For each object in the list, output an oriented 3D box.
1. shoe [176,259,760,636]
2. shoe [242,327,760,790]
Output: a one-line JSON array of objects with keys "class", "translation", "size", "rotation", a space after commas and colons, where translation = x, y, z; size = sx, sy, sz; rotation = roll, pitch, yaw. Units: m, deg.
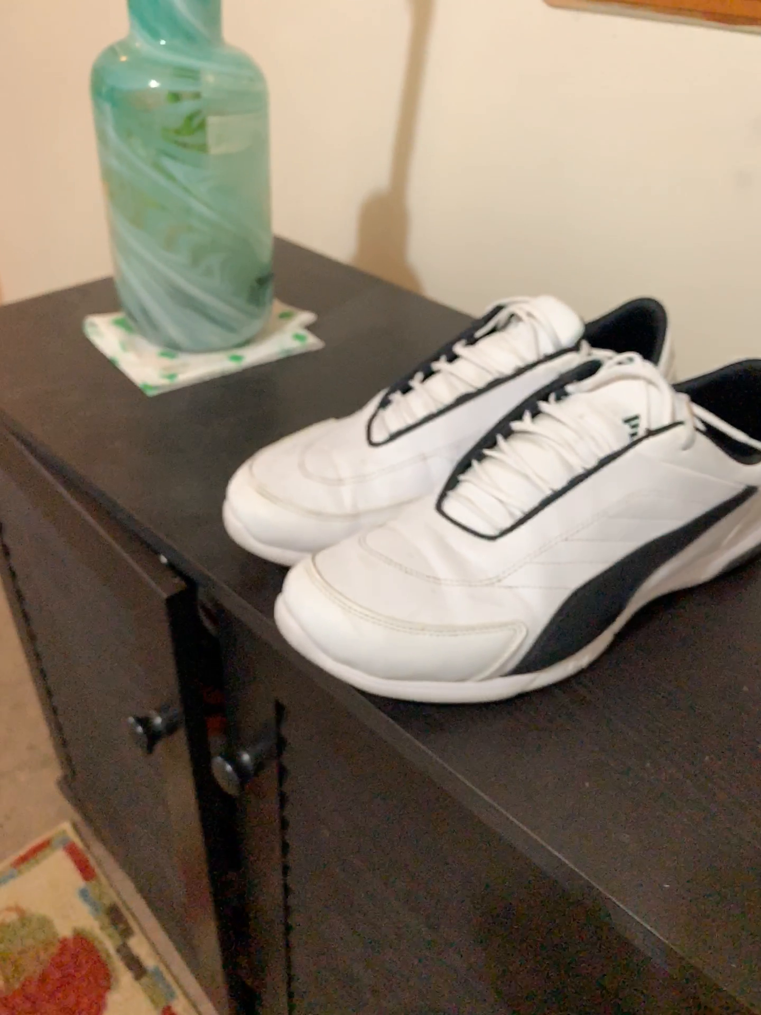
[{"class": "shoe", "translation": [0.049, -0.048, 0.439], "size": [0.281, 0.089, 0.121], "rotation": [-18, 41, -21]}, {"class": "shoe", "translation": [0.095, 0.007, 0.373], "size": [0.291, 0.089, 0.101], "rotation": [-18, 41, -21]}]
